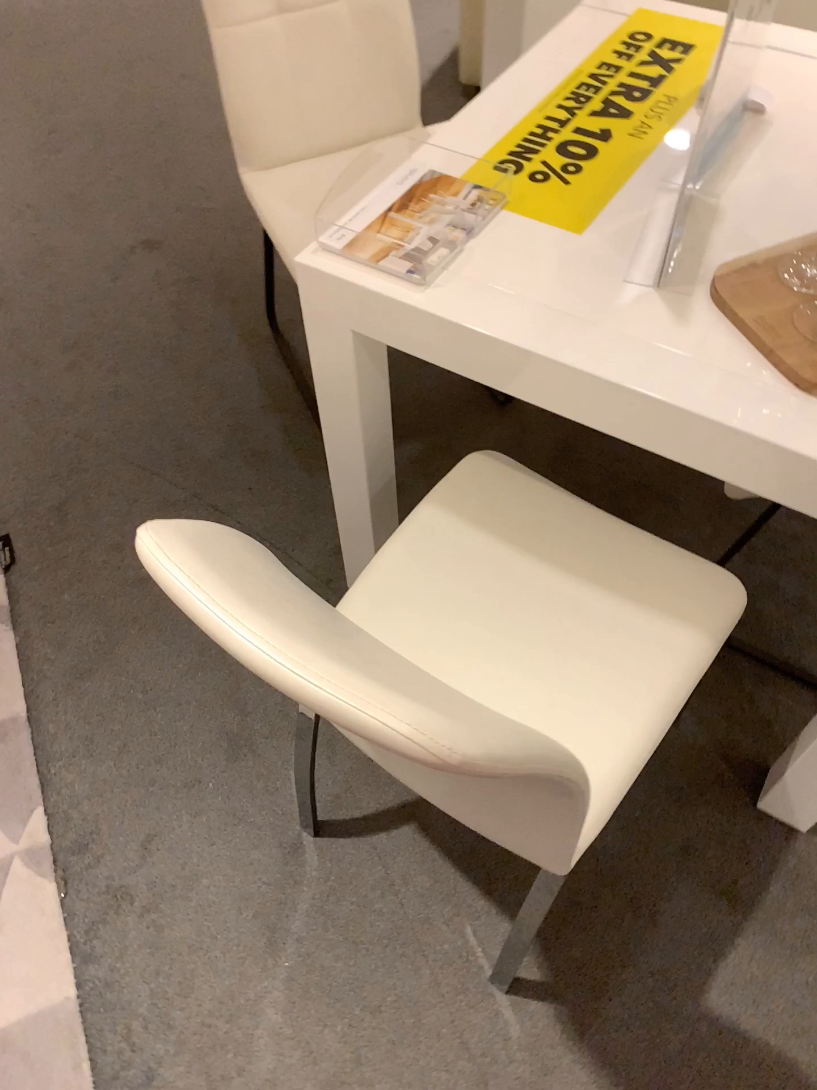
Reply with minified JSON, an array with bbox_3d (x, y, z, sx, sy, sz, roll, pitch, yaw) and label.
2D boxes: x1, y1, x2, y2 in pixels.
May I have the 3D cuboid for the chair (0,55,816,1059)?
[{"bbox_3d":[0.123,0.106,0.971,0.488,0.938,0.612,27,60,19],"label":"chair"}]

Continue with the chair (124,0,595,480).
[{"bbox_3d":[-0.083,-0.690,1.529,0.478,0.909,0.573,-21,56,-12],"label":"chair"}]
